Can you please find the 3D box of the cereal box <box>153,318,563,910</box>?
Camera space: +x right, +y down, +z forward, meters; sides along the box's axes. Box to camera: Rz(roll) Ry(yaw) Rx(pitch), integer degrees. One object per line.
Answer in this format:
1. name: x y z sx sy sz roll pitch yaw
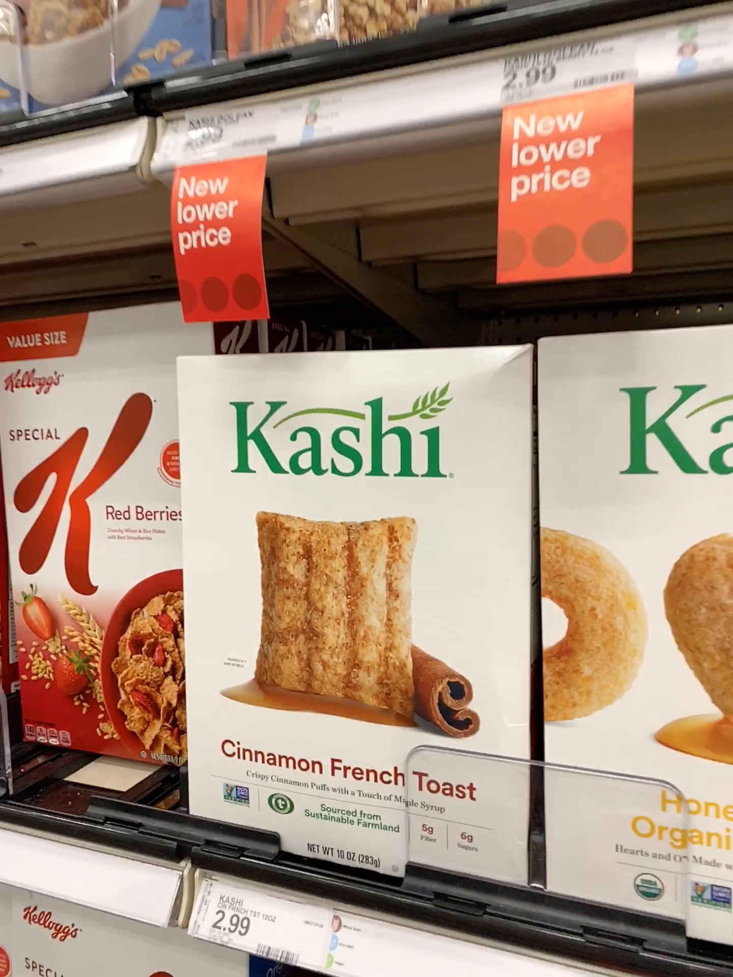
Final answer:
1. cereal box: -0.006 0.056 0.408 0.210 0.270 0.060 1 4 23
